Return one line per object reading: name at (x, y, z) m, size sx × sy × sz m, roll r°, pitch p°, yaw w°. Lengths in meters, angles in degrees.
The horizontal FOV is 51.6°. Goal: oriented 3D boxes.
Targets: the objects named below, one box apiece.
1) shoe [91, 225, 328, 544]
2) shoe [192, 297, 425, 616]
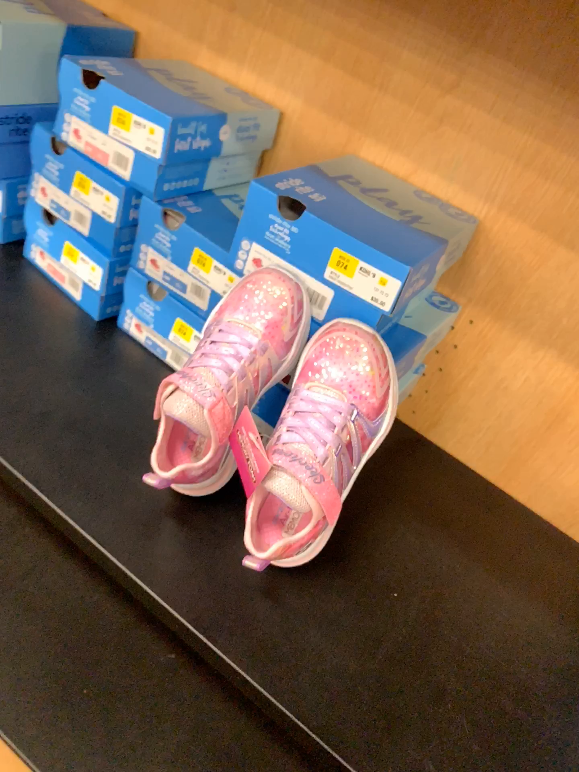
shoe at (-0.062, -0.002, 0.464) m, size 0.090 × 0.209 × 0.080 m, roll 26°, pitch 13°, yaw 19°
shoe at (0.015, 0.046, 0.442) m, size 0.090 × 0.200 × 0.080 m, roll 24°, pitch 13°, yaw 15°
